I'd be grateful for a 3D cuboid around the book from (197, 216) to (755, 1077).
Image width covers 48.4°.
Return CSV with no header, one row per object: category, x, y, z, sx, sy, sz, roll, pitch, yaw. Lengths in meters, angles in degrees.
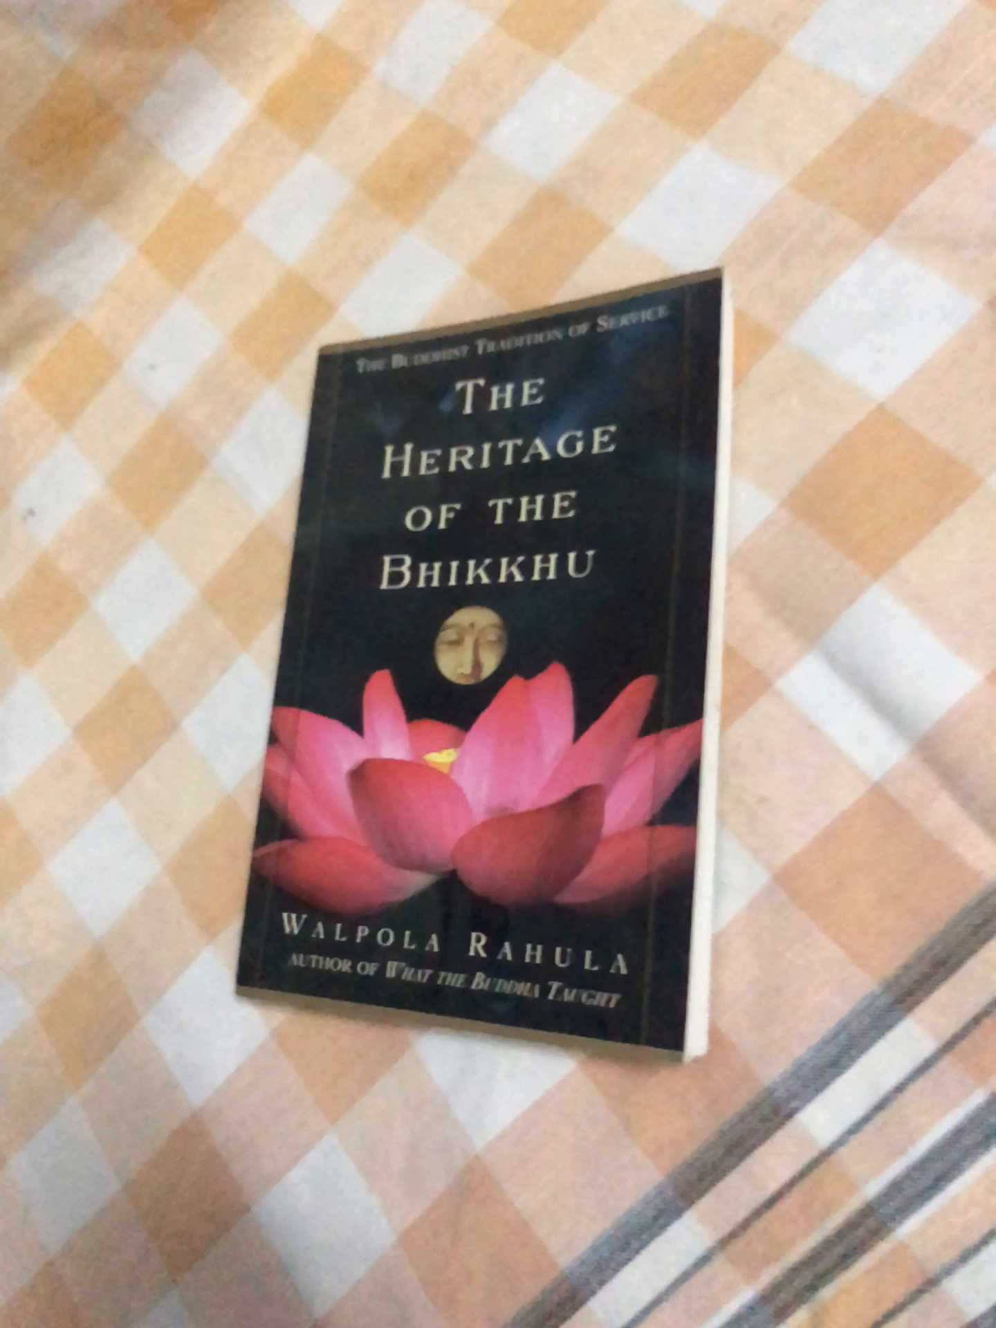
book,-0.004,-0.009,0.316,0.140,0.030,0.220,-2,74,26
